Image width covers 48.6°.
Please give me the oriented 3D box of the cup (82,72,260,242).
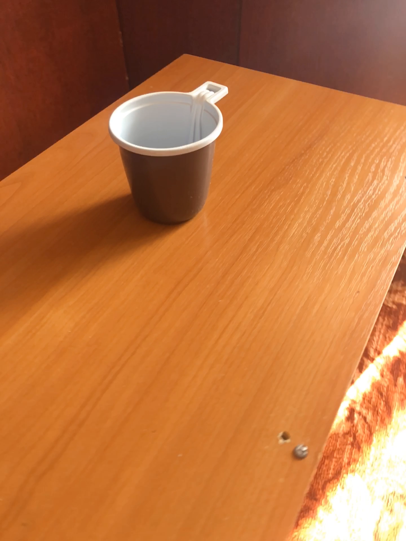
[{"bbox_3d":[-0.018,-0.084,0.319,0.070,0.060,0.100,28,54,24],"label":"cup"}]
